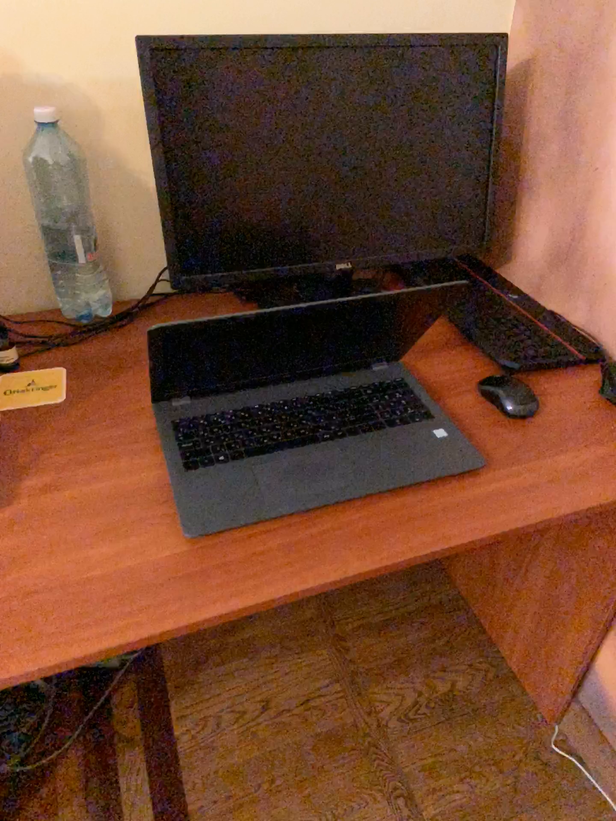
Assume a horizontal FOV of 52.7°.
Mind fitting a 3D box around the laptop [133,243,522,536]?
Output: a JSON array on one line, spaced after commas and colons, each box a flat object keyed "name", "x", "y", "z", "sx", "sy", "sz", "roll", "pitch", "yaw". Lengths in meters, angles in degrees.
[{"name": "laptop", "x": 0.006, "y": -0.047, "z": 0.770, "sx": 0.385, "sy": 0.193, "sz": 0.246, "roll": -11, "pitch": 38, "yaw": -16}]
